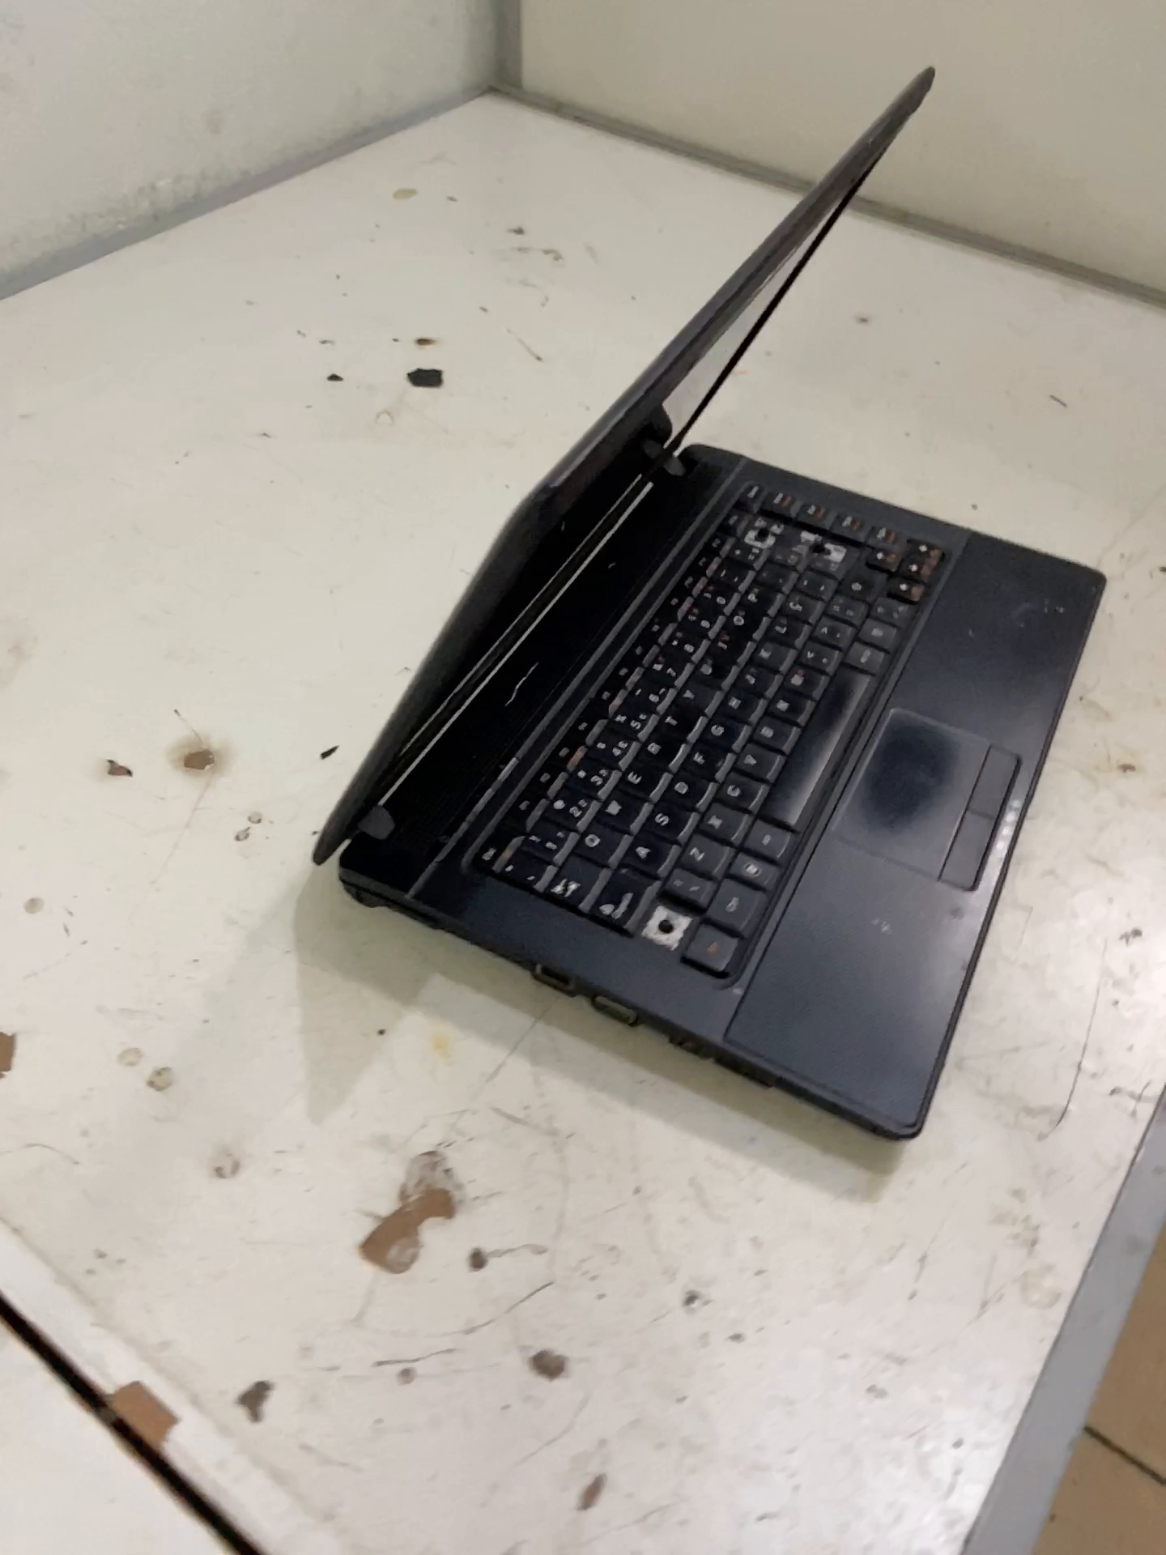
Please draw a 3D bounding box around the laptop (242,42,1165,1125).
[{"bbox_3d":[0.082,-0.103,0.453,0.223,0.194,0.334,22,49,17],"label":"laptop"}]
